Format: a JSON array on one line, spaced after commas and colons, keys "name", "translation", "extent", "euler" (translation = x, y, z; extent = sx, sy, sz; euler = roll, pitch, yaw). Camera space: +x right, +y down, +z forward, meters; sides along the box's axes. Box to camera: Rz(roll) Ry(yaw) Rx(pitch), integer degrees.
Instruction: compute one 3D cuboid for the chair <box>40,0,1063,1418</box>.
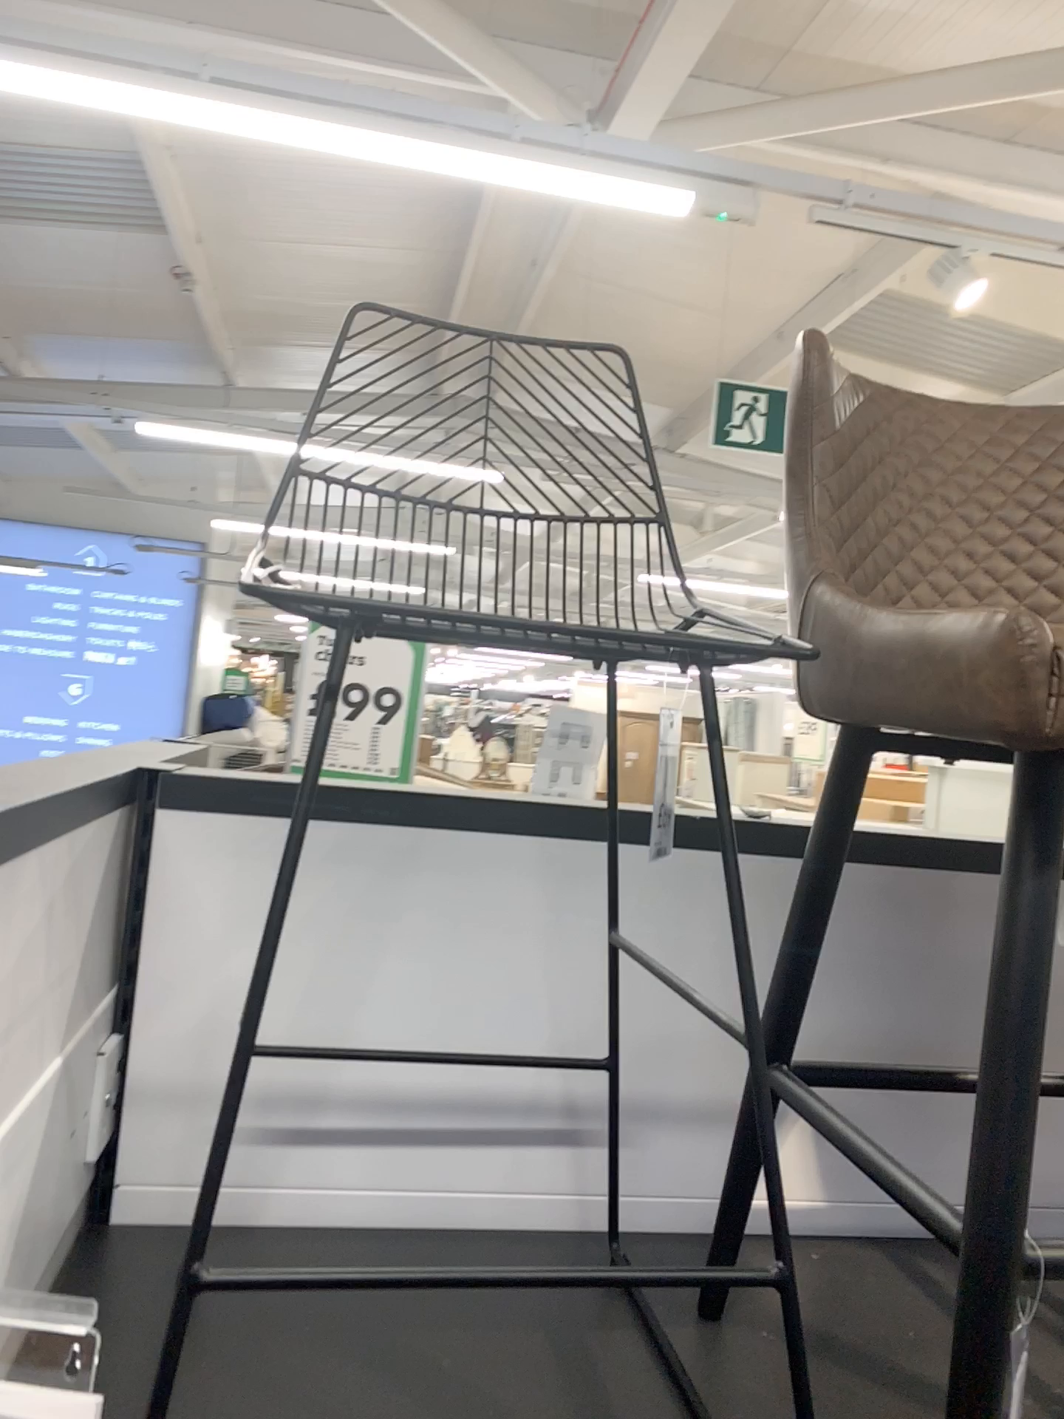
[{"name": "chair", "translation": [-0.006, 0.064, 0.877], "extent": [0.504, 0.964, 0.529], "euler": [6, -2, -11]}]
